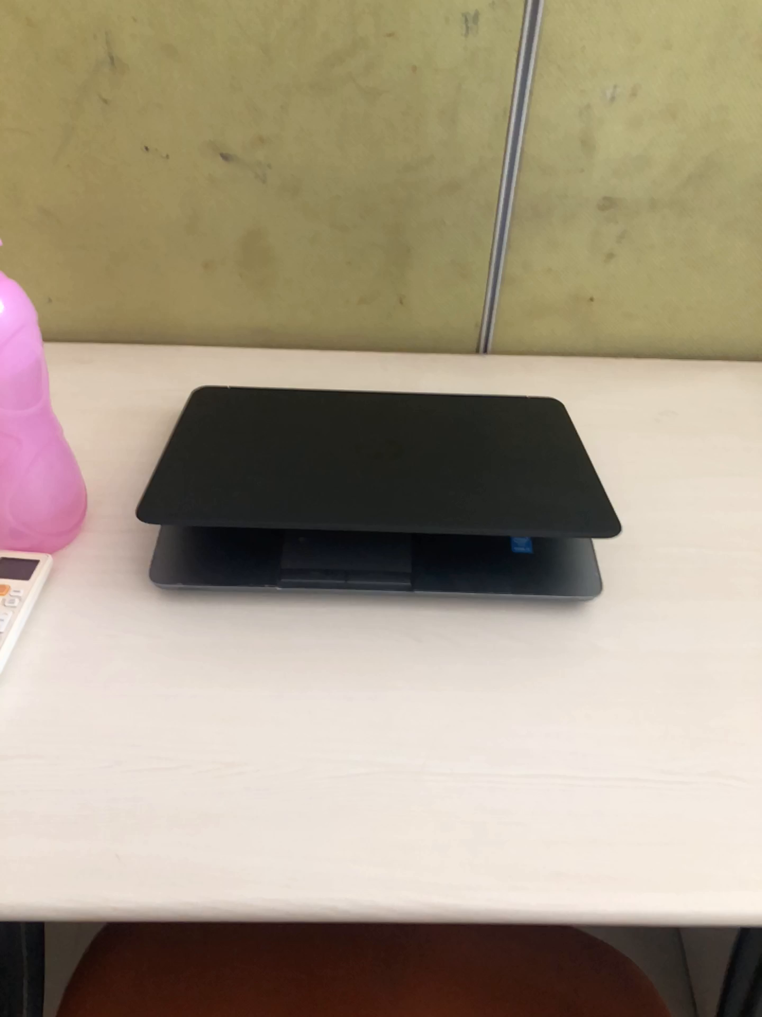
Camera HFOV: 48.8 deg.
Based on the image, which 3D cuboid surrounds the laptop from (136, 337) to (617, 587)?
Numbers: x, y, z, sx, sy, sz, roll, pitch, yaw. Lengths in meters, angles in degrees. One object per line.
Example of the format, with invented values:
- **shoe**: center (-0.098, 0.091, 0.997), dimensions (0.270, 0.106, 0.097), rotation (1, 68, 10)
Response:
- **laptop**: center (0.000, -0.046, 0.672), dimensions (0.330, 0.050, 0.227), rotation (2, 45, -1)
